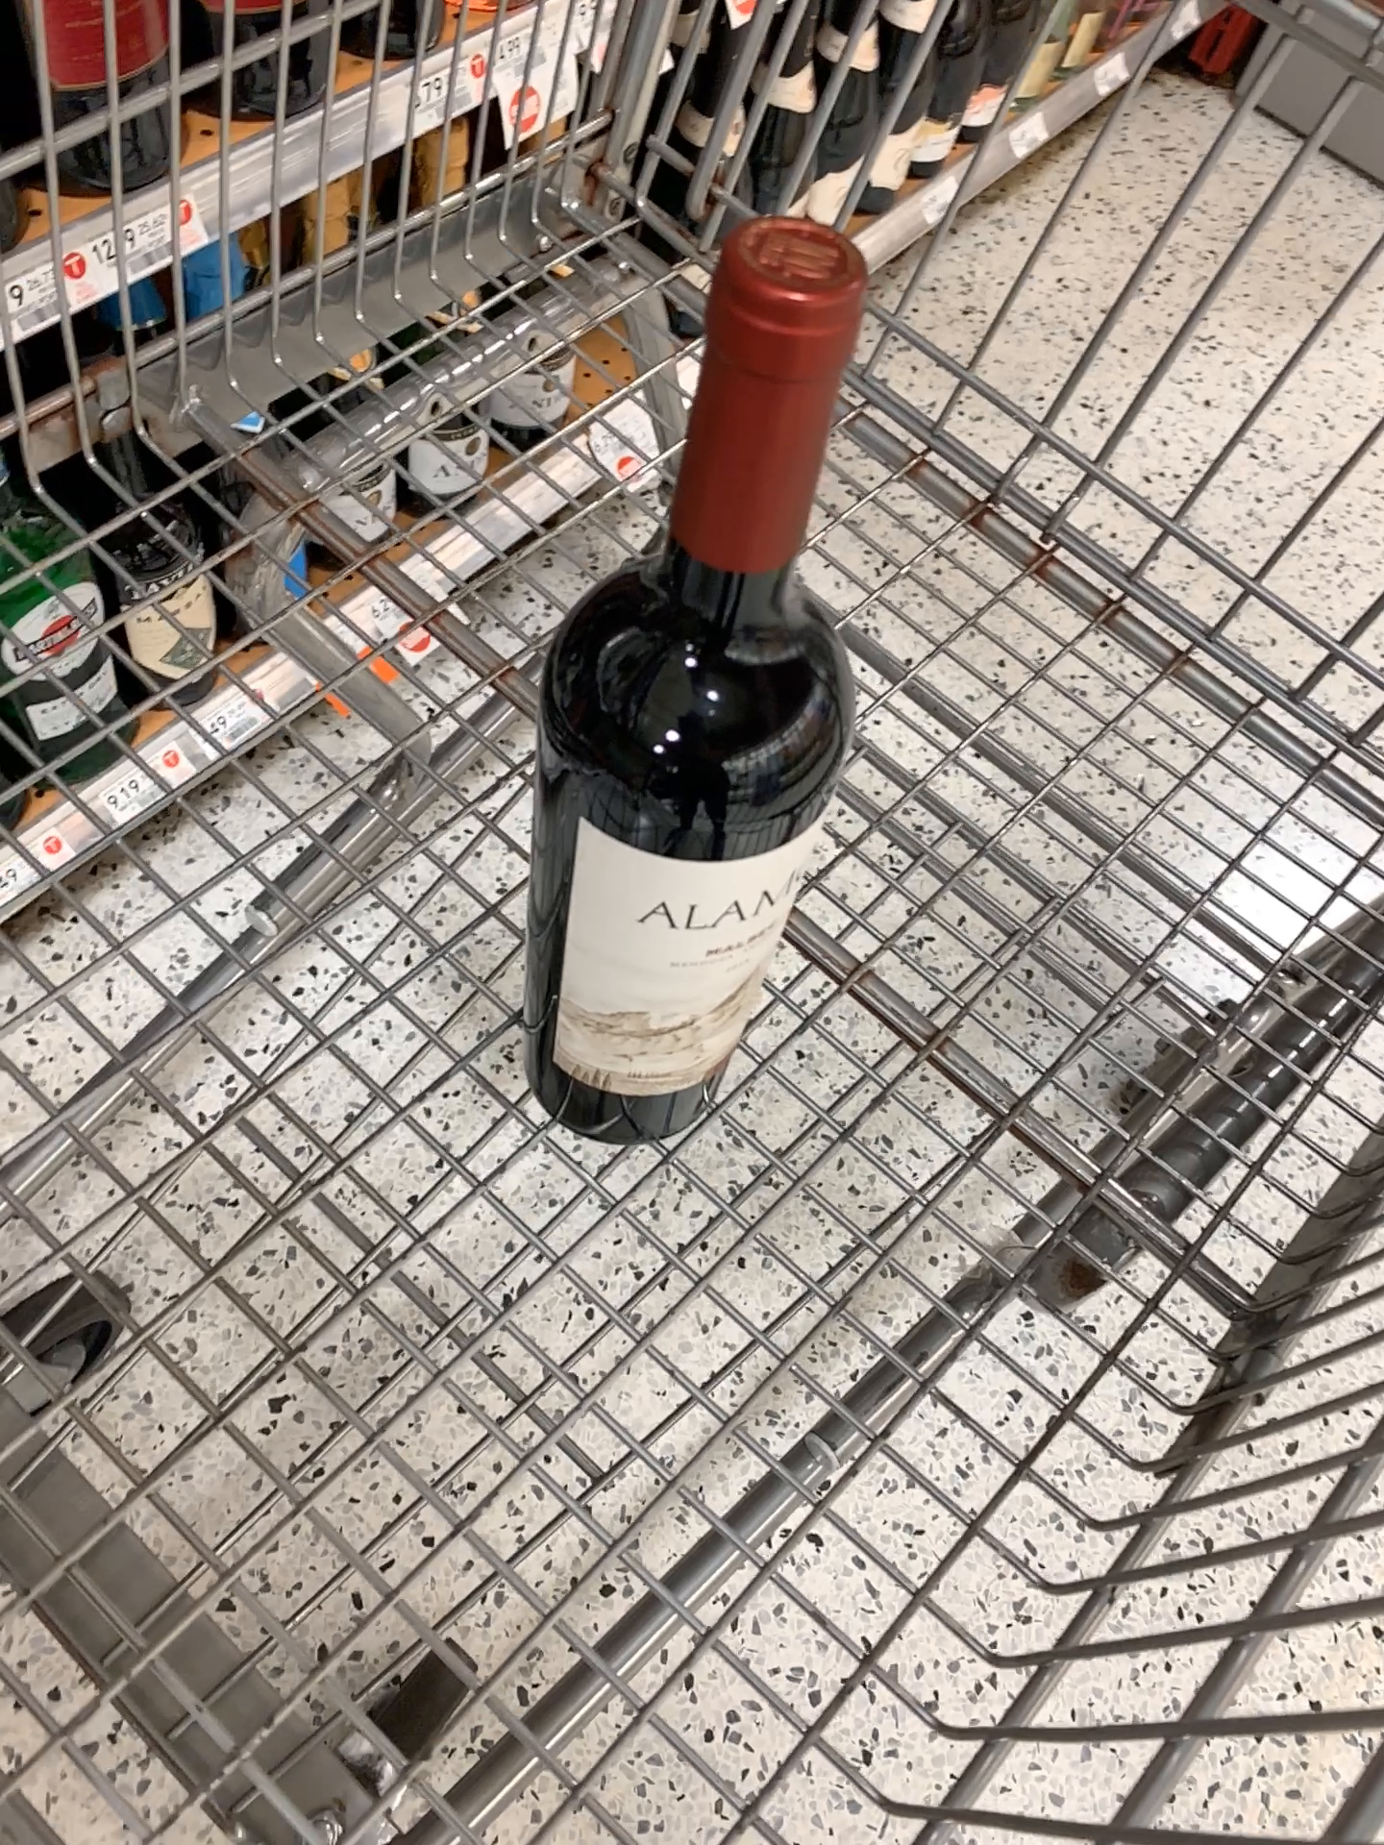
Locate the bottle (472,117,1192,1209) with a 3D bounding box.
[{"bbox_3d":[0.004,-0.031,0.364,0.090,0.298,0.080,-21,64,-21],"label":"bottle"}]
